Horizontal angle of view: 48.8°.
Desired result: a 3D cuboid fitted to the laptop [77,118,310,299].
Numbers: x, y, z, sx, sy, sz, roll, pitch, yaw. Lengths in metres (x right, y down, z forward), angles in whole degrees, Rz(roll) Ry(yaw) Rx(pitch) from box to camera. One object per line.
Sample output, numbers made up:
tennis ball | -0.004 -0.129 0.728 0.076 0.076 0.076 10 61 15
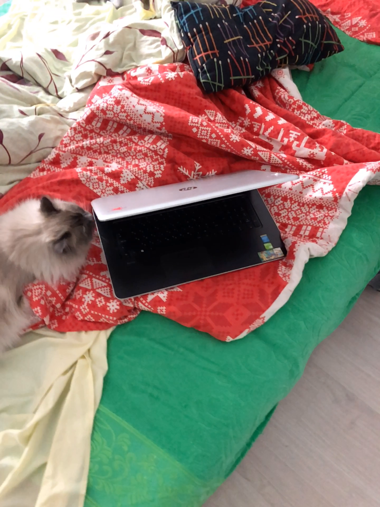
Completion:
laptop | 0.002 -0.108 0.930 0.414 0.176 0.277 -14 60 -12
